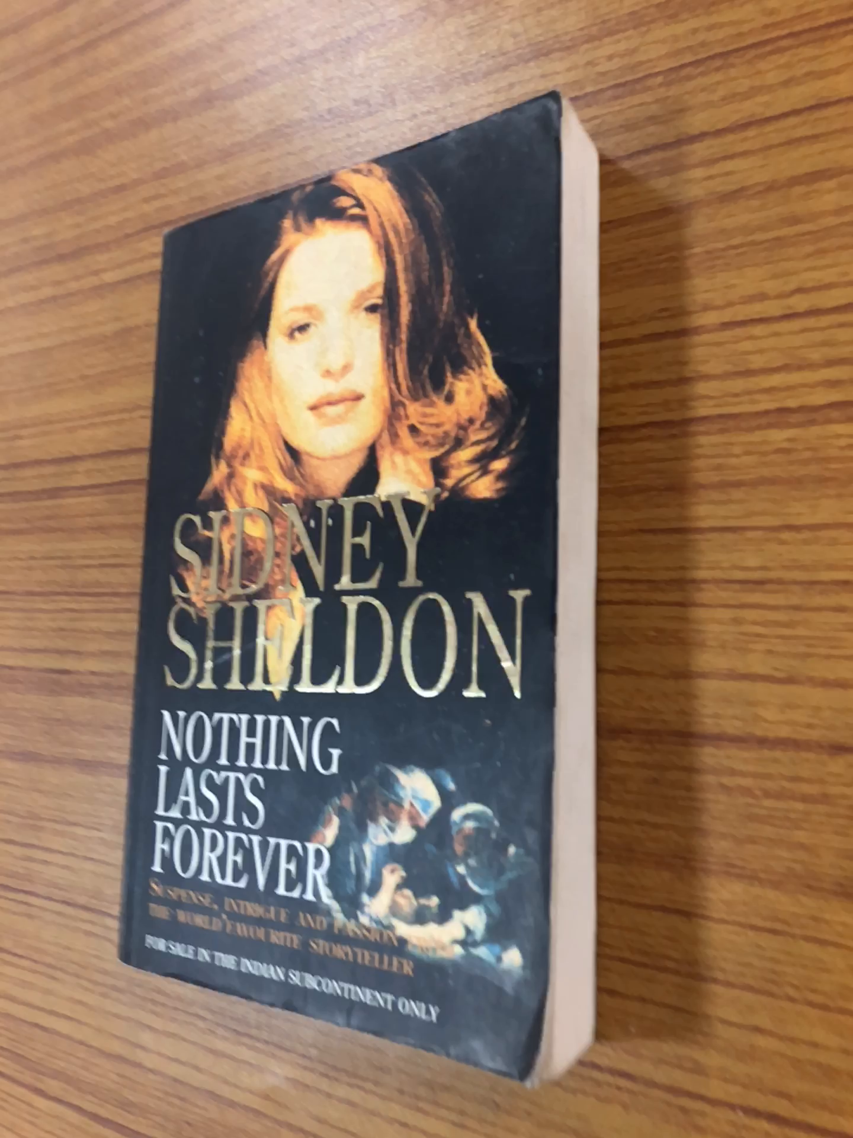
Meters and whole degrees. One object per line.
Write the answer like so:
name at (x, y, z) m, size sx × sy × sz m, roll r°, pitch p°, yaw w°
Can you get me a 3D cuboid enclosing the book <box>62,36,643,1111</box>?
book at (-0.020, 0.000, 0.196) m, size 0.120 × 0.030 × 0.170 m, roll -4°, pitch 82°, yaw 34°
